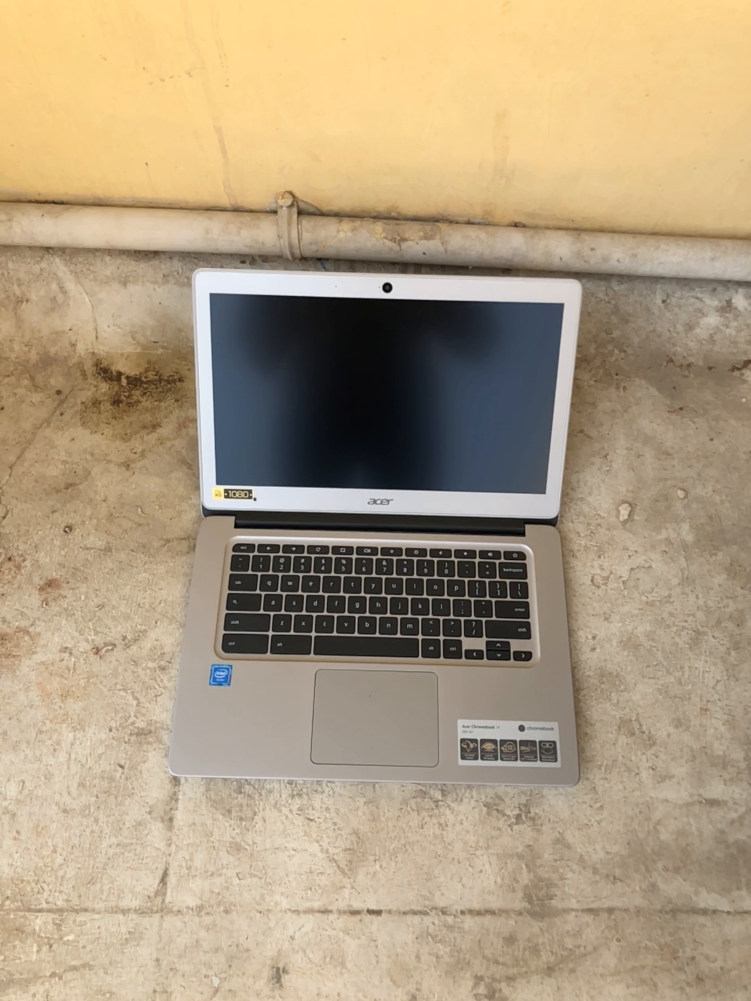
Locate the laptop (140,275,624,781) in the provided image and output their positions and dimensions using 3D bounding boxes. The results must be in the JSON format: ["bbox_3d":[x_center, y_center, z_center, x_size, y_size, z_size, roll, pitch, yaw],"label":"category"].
[{"bbox_3d":[0.008,0.017,0.674,0.315,0.136,0.379,2,66,0],"label":"laptop"}]
